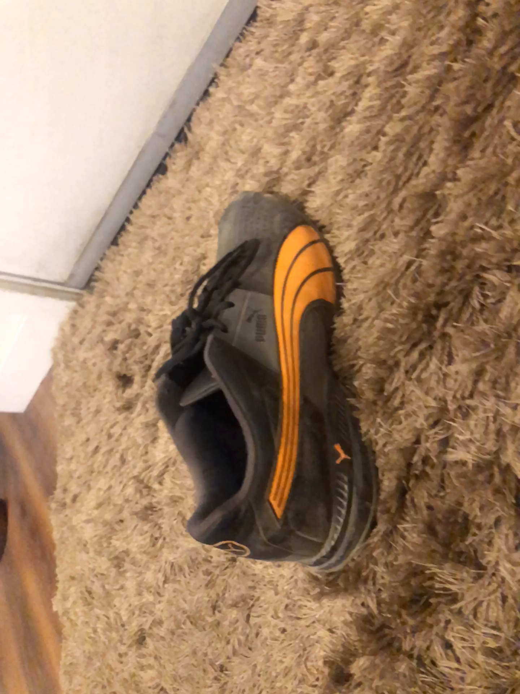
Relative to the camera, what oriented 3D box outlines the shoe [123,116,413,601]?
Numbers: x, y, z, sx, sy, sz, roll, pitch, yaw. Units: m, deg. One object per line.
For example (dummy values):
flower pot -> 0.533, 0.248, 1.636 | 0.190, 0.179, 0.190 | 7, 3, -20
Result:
shoe -> -0.014, 0.006, 0.413 | 0.123, 0.109, 0.300 | -38, 53, 44
